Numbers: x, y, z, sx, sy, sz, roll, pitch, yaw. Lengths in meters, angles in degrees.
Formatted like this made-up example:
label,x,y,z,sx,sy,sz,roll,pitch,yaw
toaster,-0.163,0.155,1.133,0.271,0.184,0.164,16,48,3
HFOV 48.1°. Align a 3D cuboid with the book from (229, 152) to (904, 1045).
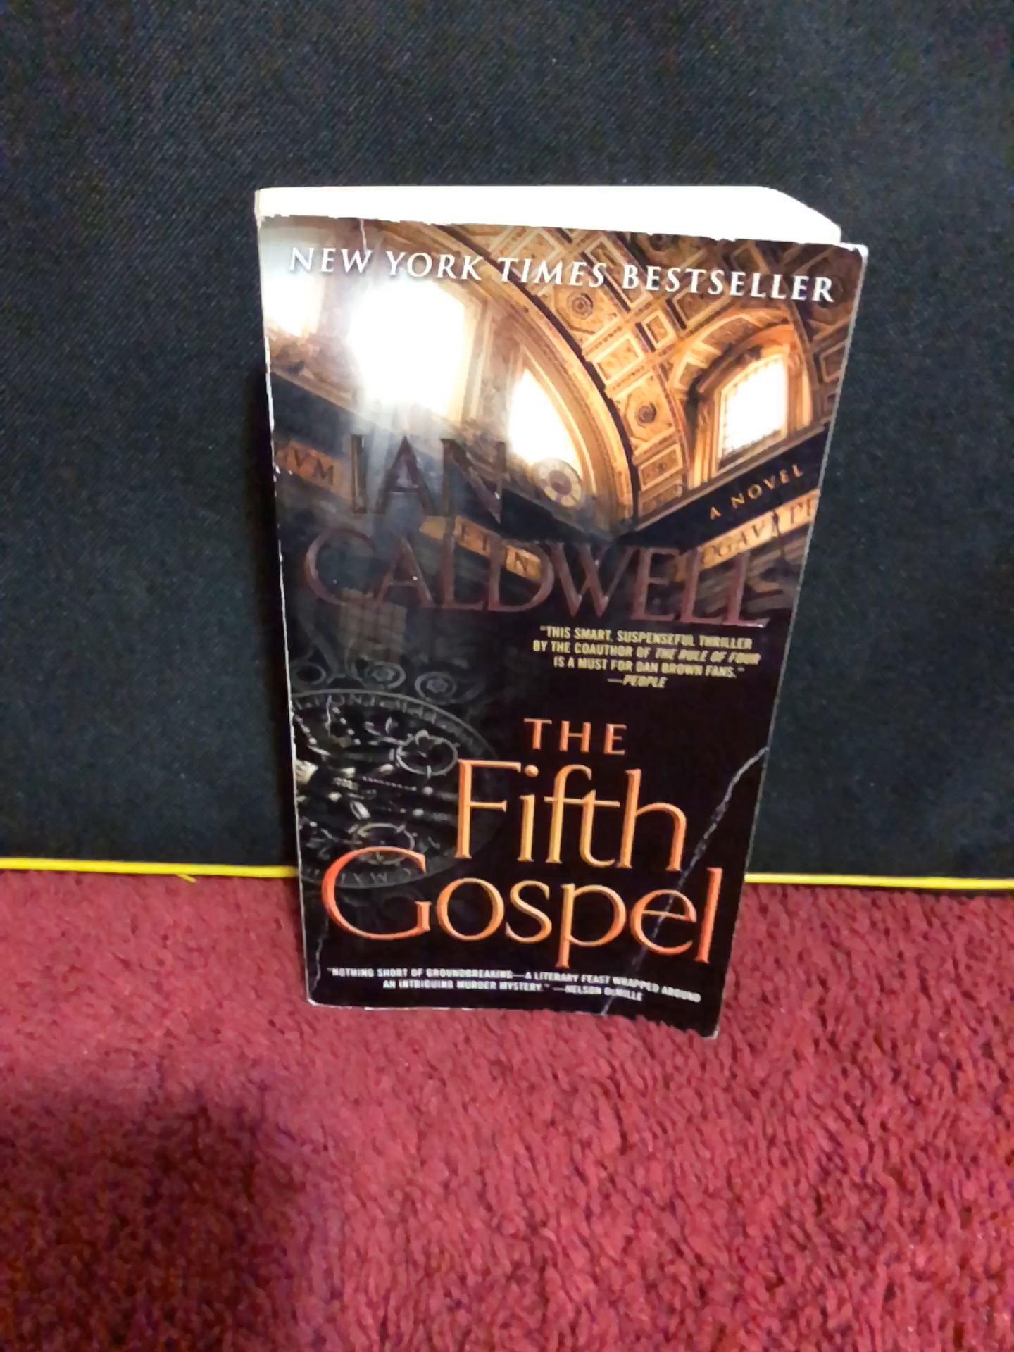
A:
label,x,y,z,sx,sy,sz,roll,pitch,yaw
book,0.008,-0.011,0.271,0.120,0.199,0.050,5,29,6
